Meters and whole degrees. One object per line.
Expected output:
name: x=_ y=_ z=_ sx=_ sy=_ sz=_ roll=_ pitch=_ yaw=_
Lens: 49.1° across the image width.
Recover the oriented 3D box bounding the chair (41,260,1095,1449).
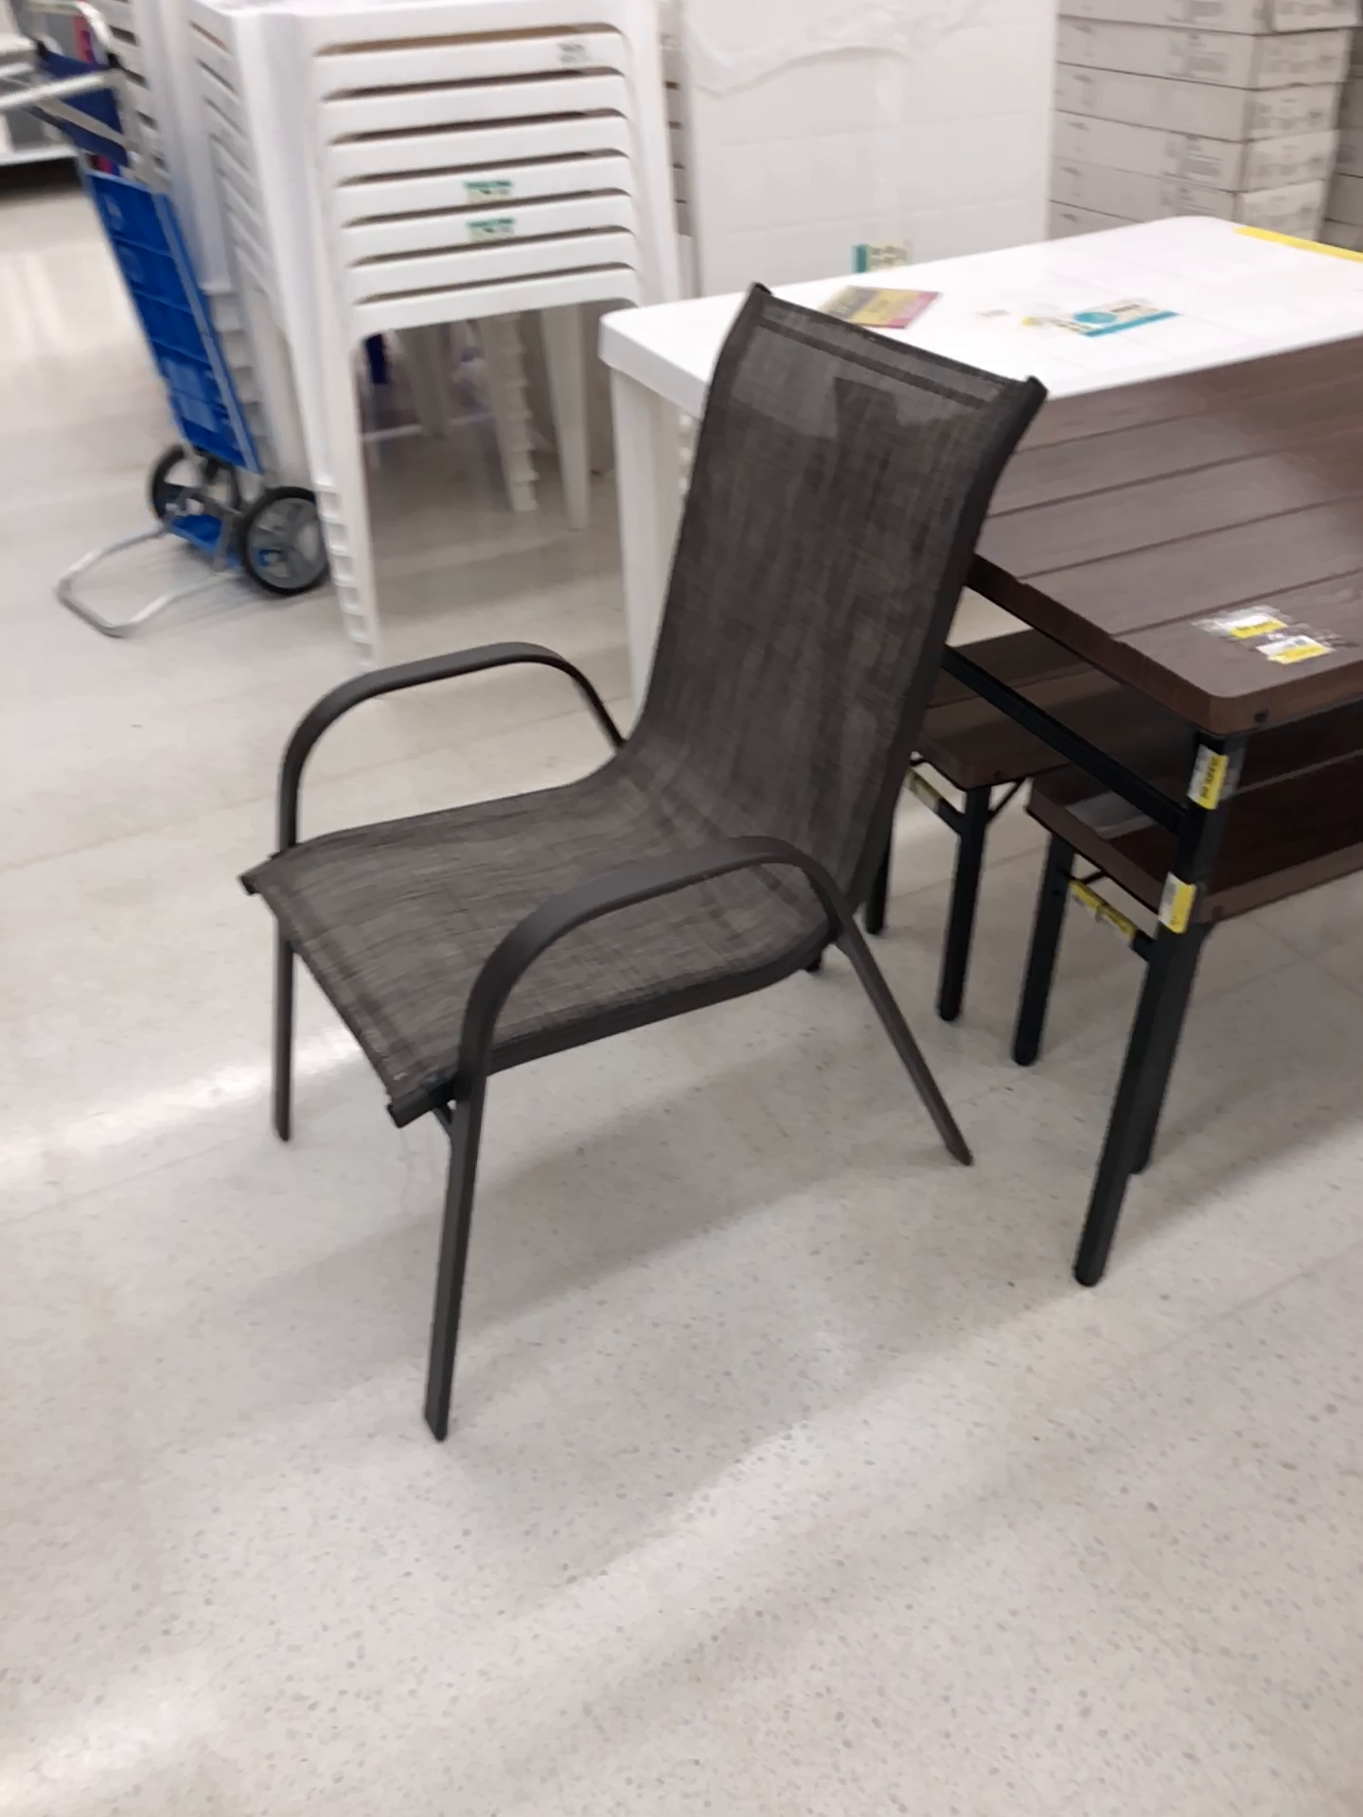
chair: x=-0.107 y=-0.099 z=1.520 sx=0.711 sy=0.853 sz=0.604 roll=-20 pitch=38 yaw=-23
